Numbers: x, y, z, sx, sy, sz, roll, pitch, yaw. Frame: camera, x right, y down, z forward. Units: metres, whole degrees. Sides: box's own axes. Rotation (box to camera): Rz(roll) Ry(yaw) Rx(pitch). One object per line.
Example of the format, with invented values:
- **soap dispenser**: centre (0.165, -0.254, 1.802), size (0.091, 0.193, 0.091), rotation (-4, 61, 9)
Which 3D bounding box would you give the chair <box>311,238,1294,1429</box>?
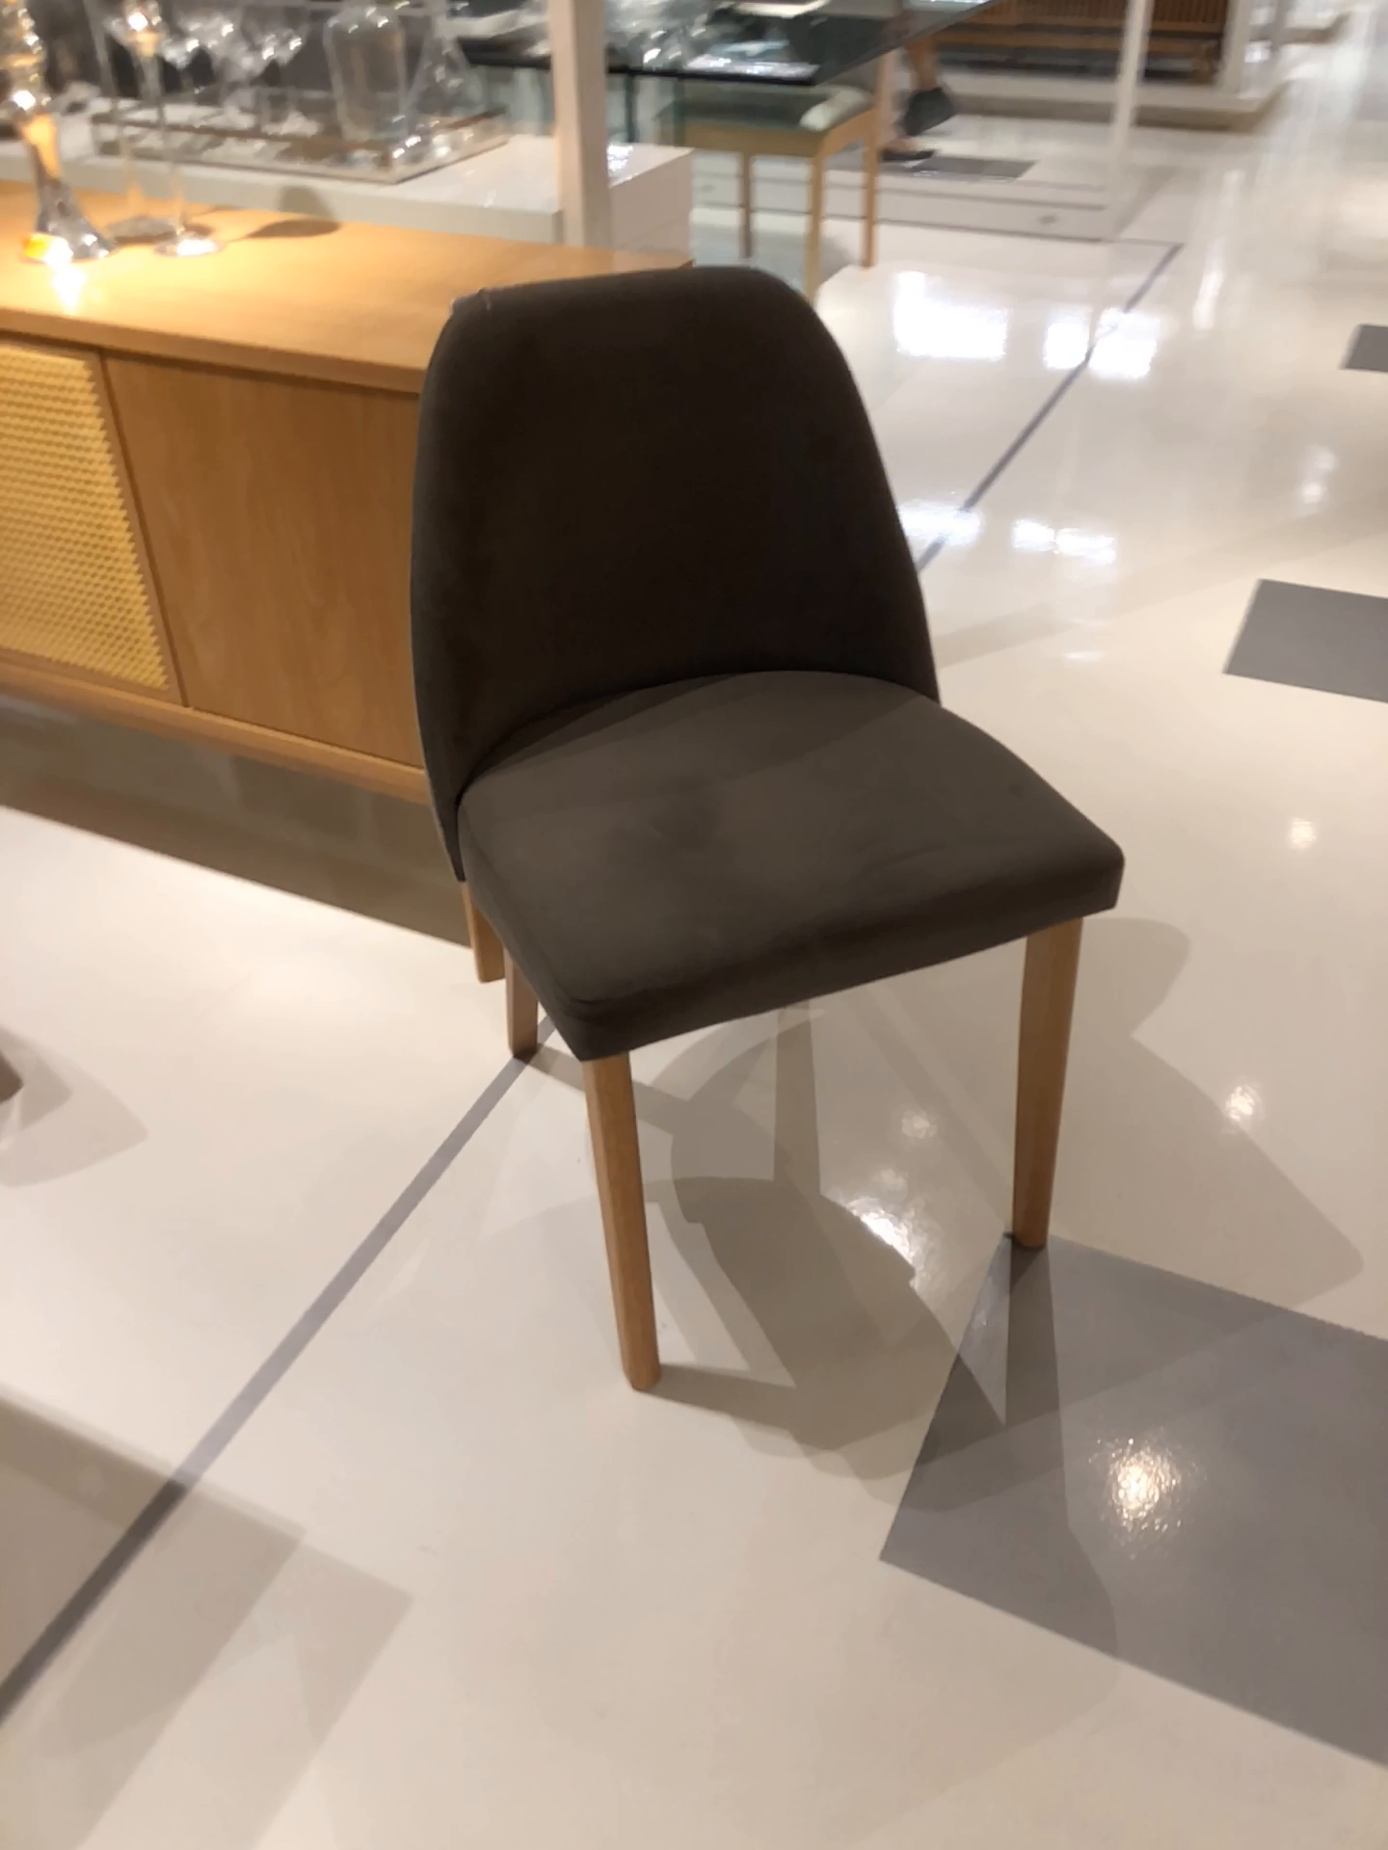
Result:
- **chair**: centre (0.047, -0.104, 1.341), size (0.531, 0.774, 0.564), rotation (-15, 38, -17)
